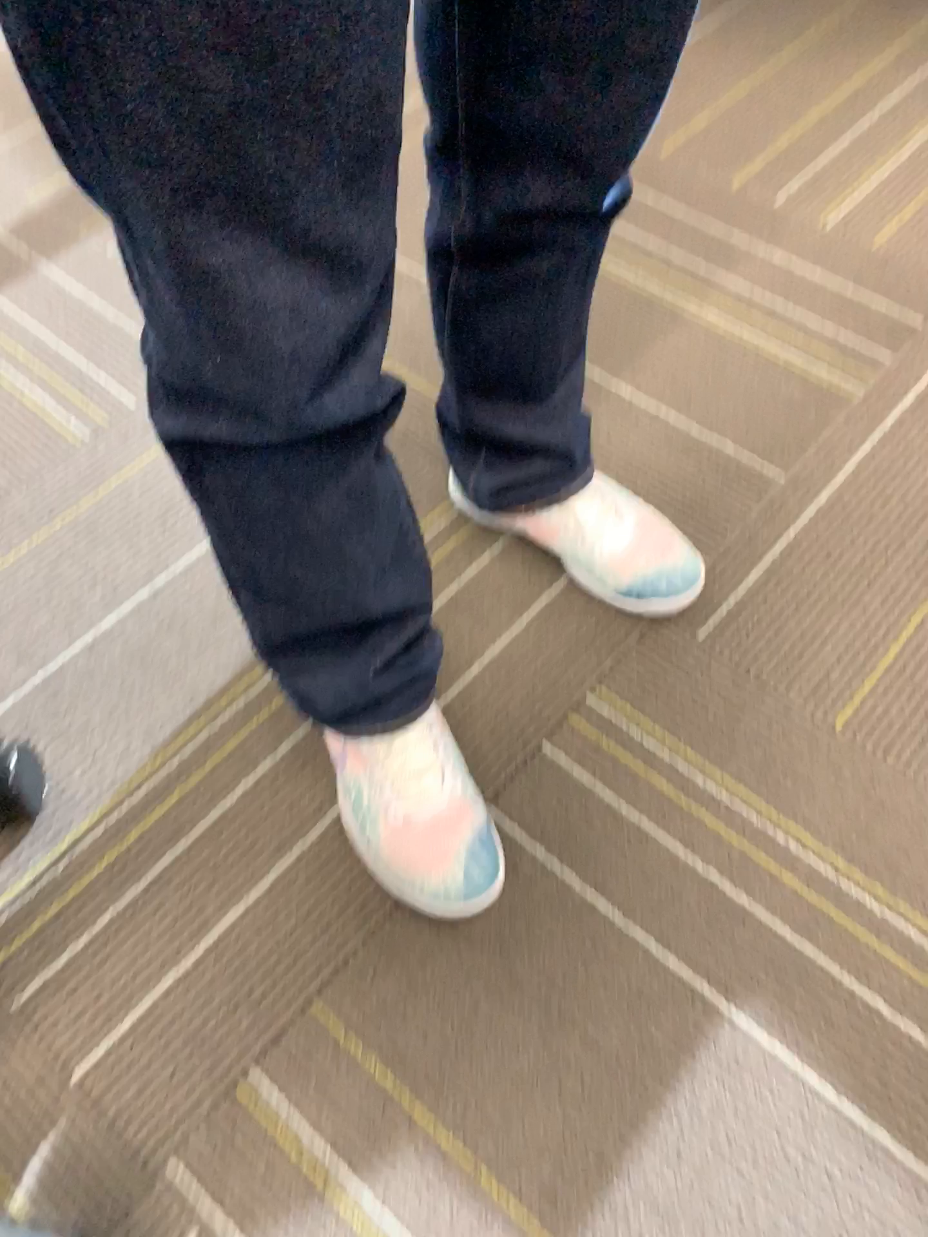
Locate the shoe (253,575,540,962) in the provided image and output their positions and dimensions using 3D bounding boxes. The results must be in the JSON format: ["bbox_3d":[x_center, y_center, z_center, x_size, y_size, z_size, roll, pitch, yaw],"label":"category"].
[{"bbox_3d":[-0.060,0.114,0.784,0.117,0.088,0.284,-24,60,-12],"label":"shoe"}]

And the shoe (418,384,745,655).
[{"bbox_3d":[0.108,-0.103,0.930,0.290,0.078,0.123,34,66,22],"label":"shoe"}]
